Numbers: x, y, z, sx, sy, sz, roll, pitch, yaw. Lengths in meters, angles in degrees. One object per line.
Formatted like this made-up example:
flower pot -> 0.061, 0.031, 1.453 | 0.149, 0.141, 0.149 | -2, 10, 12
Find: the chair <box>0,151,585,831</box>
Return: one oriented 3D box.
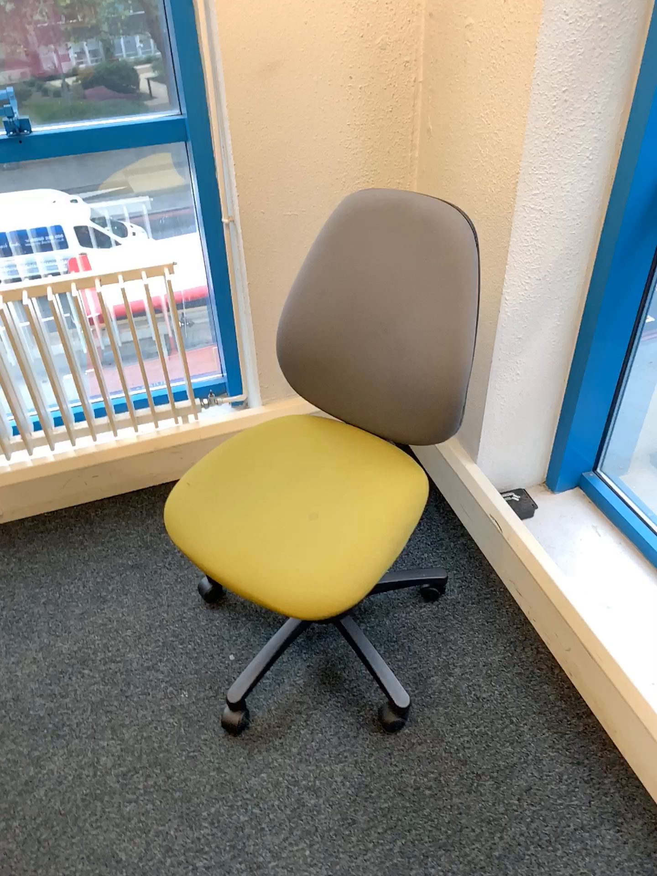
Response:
chair -> -0.056, 0.048, 1.274 | 0.695, 0.877, 0.681 | 22, 45, 27
